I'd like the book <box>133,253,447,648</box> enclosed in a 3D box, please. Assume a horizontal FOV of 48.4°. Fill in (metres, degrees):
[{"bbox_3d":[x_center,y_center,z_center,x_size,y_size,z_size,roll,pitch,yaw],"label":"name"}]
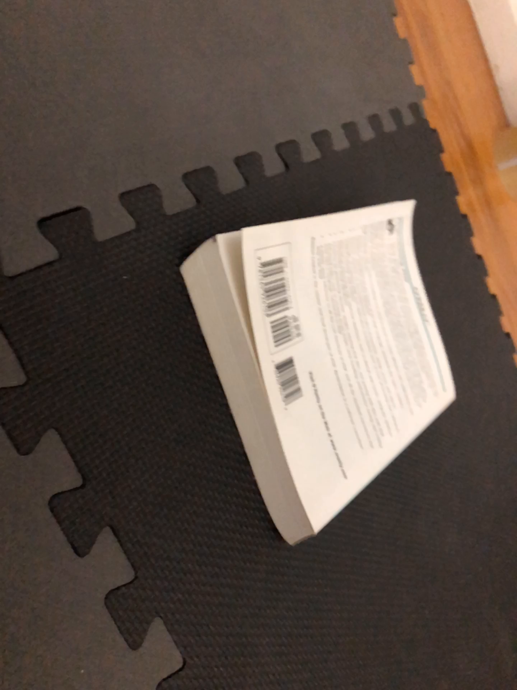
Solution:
[{"bbox_3d":[0.055,0.057,0.491,0.292,0.040,0.230,-22,96,-48],"label":"book"}]
